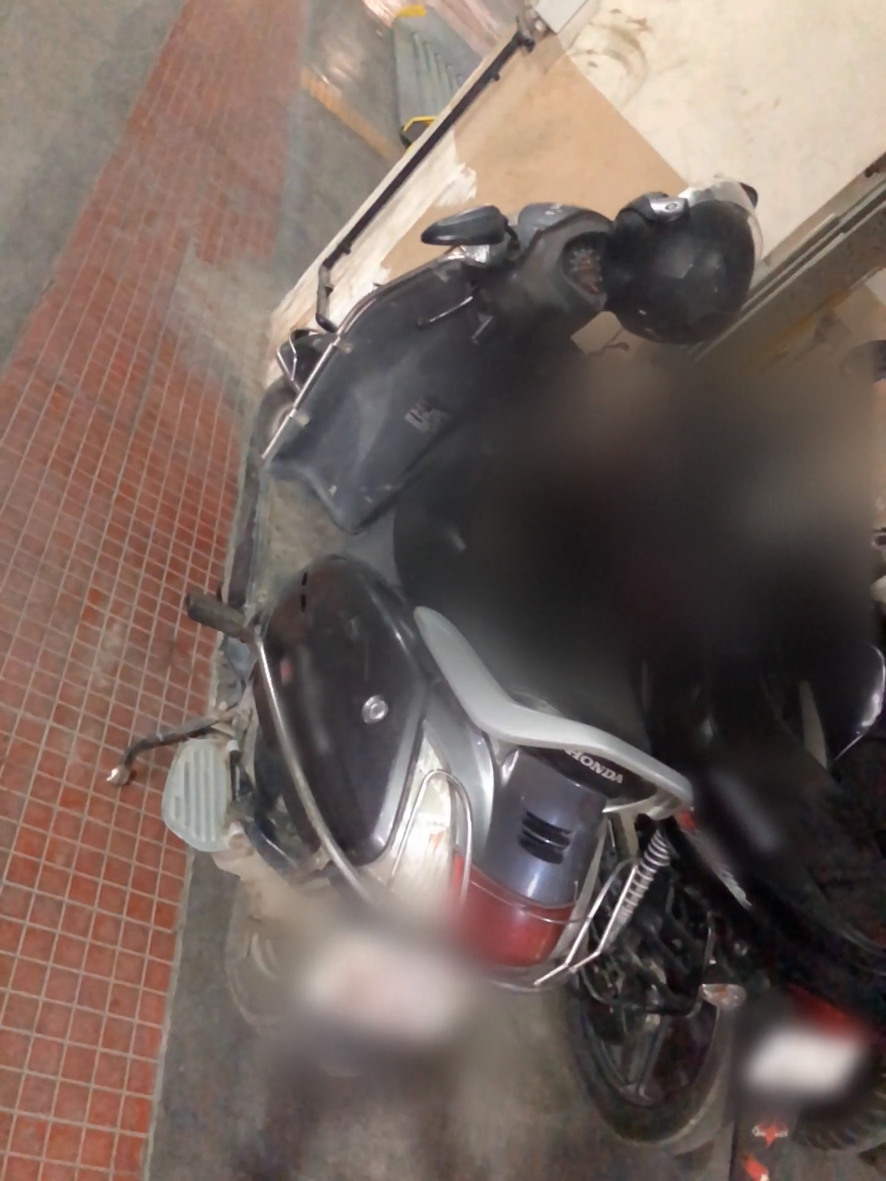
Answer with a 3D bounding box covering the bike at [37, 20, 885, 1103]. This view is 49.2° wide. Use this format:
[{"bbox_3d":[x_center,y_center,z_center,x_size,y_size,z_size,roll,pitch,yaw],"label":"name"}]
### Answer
[{"bbox_3d":[-0.123,-0.116,1.681,0.595,0.989,1.498,27,34,-35],"label":"bike"}]
